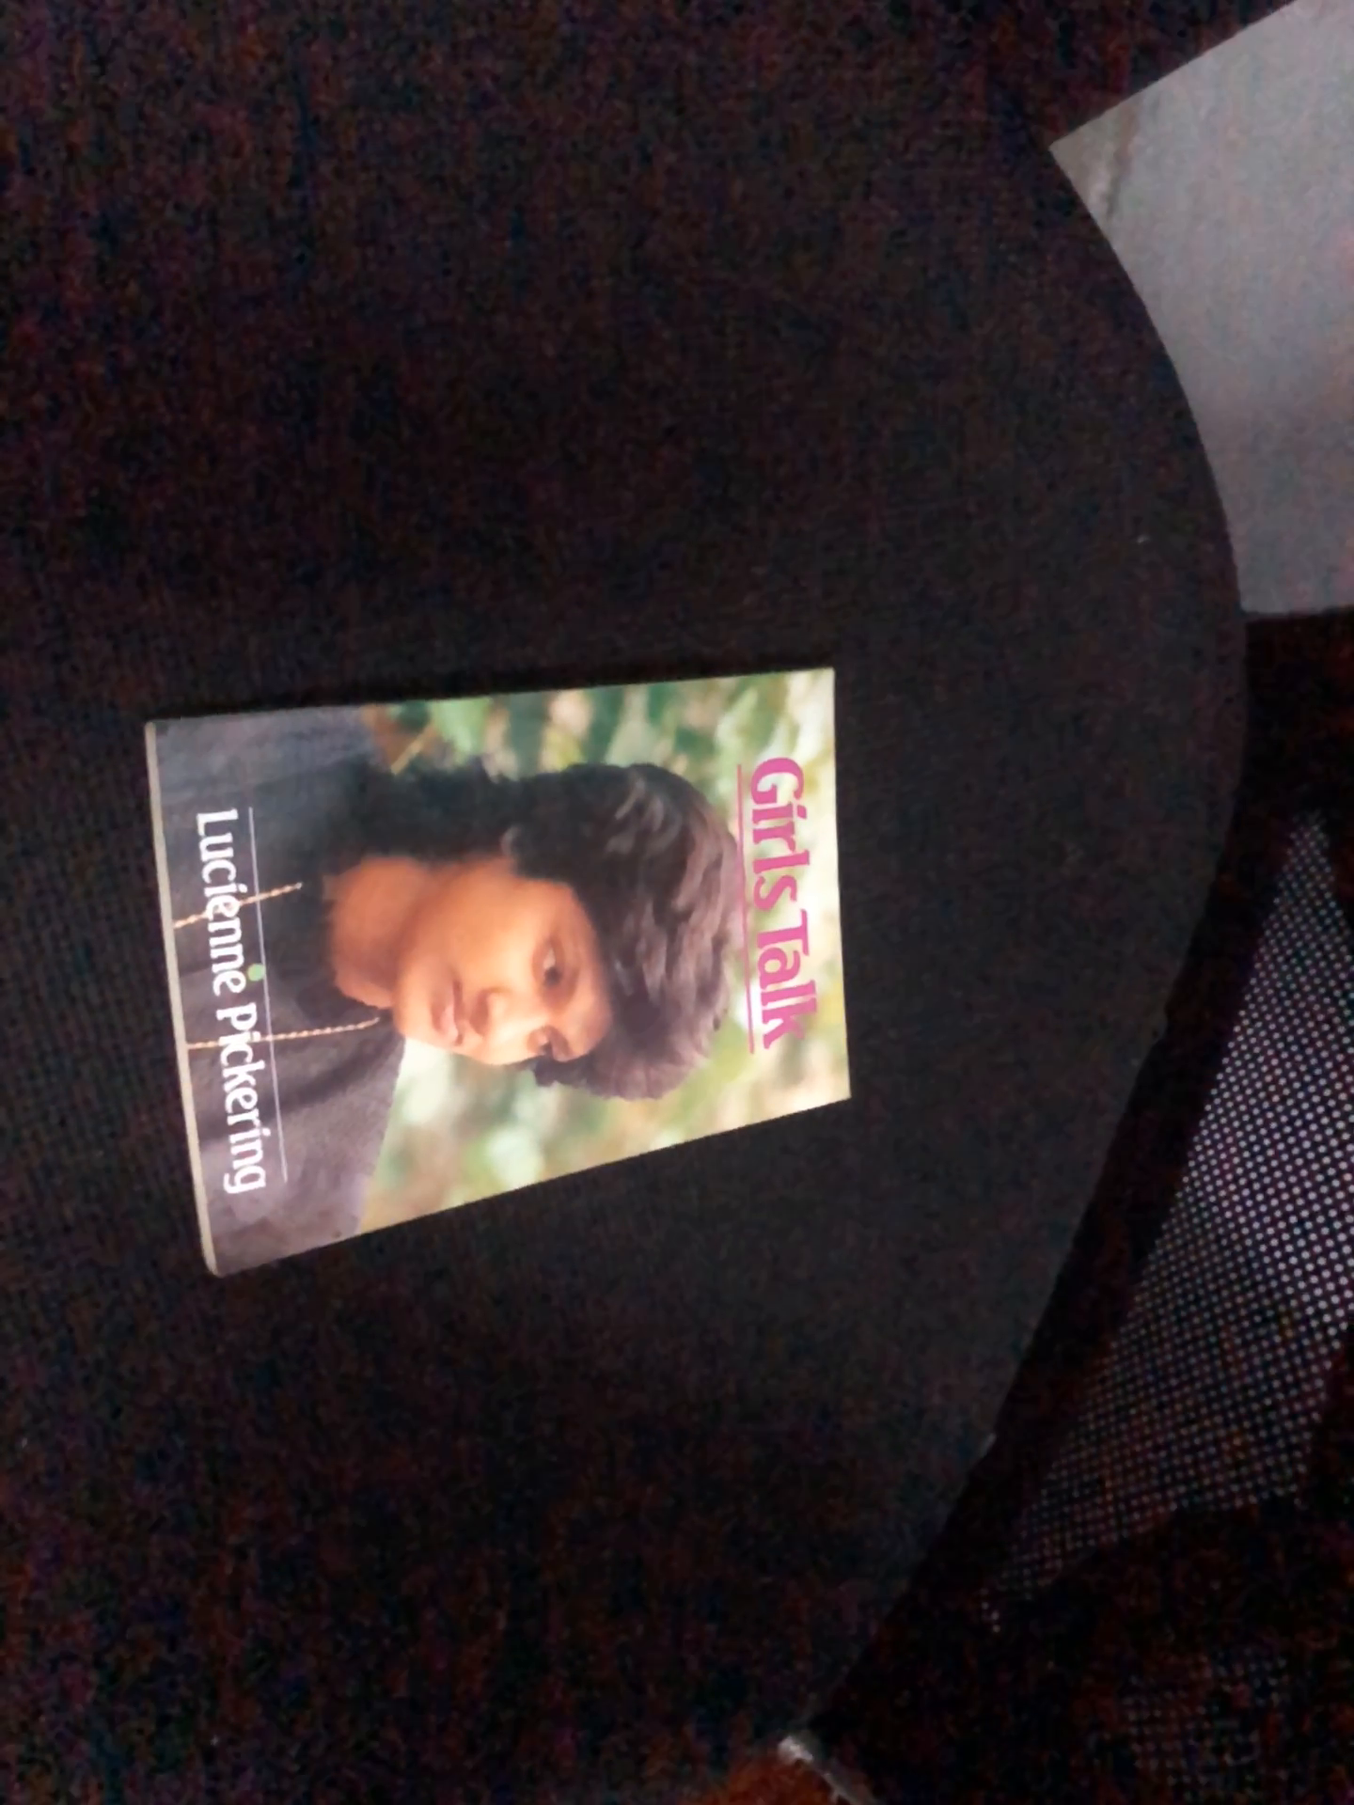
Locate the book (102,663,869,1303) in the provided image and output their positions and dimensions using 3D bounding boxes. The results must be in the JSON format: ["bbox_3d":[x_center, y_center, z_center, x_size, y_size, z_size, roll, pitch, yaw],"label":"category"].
[{"bbox_3d":[-0.032,0.010,0.378,0.201,0.010,0.130,-9,103,-33],"label":"book"}]
